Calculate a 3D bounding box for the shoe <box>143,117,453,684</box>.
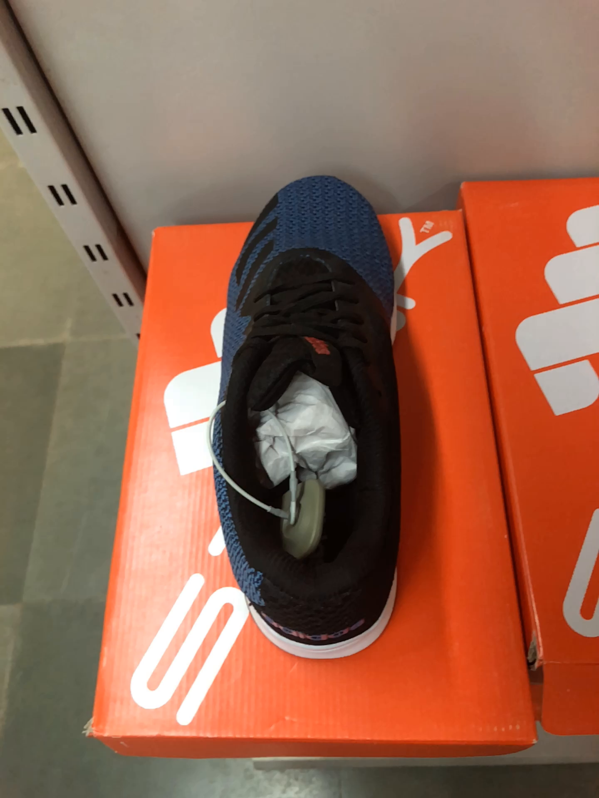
[{"bbox_3d":[0.005,0.002,0.343,0.105,0.136,0.254,-3,62,5],"label":"shoe"}]
